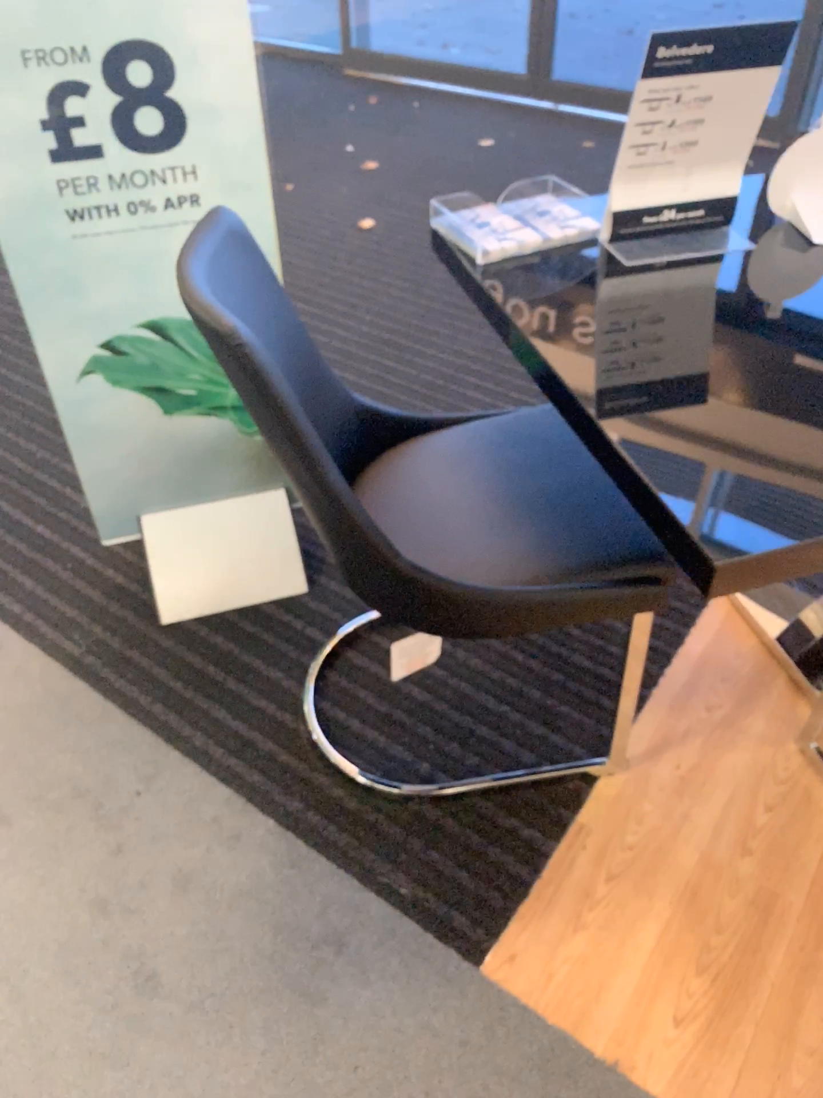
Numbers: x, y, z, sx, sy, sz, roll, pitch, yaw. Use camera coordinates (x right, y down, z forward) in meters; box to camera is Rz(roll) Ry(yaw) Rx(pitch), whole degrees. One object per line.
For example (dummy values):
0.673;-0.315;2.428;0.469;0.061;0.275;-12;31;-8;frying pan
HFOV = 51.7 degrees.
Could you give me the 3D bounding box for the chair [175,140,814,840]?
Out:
0.053;-0.073;1.256;0.609;0.811;0.535;-7;42;-6;chair
